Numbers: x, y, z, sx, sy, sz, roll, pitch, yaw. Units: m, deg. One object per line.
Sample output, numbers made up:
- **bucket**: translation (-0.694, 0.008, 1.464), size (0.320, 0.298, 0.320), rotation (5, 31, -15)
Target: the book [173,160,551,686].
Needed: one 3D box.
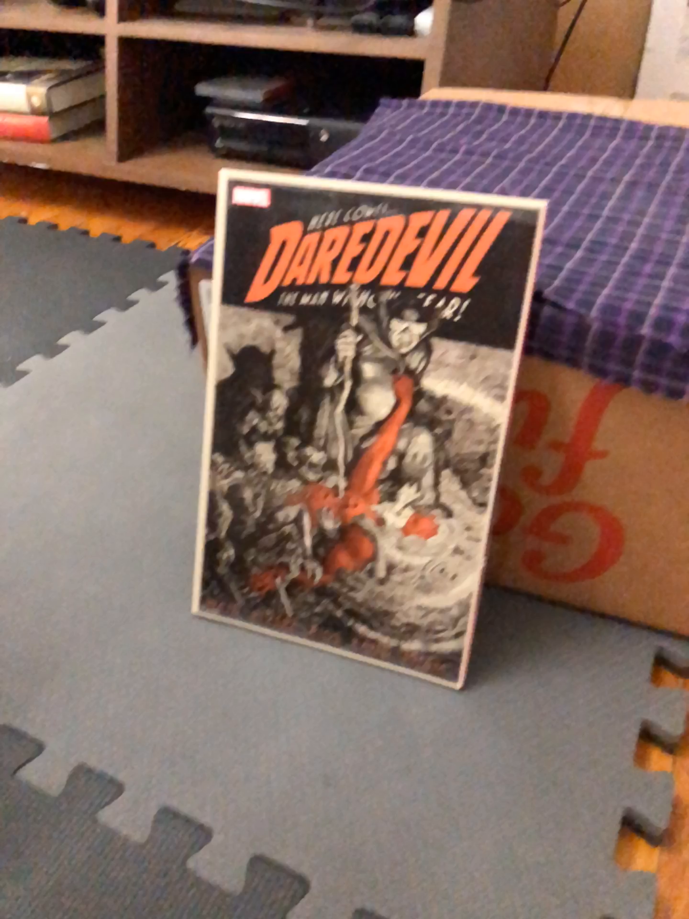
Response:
- **book**: translation (-0.003, -0.016, 0.370), size (0.160, 0.229, 0.020), rotation (12, 18, 16)
